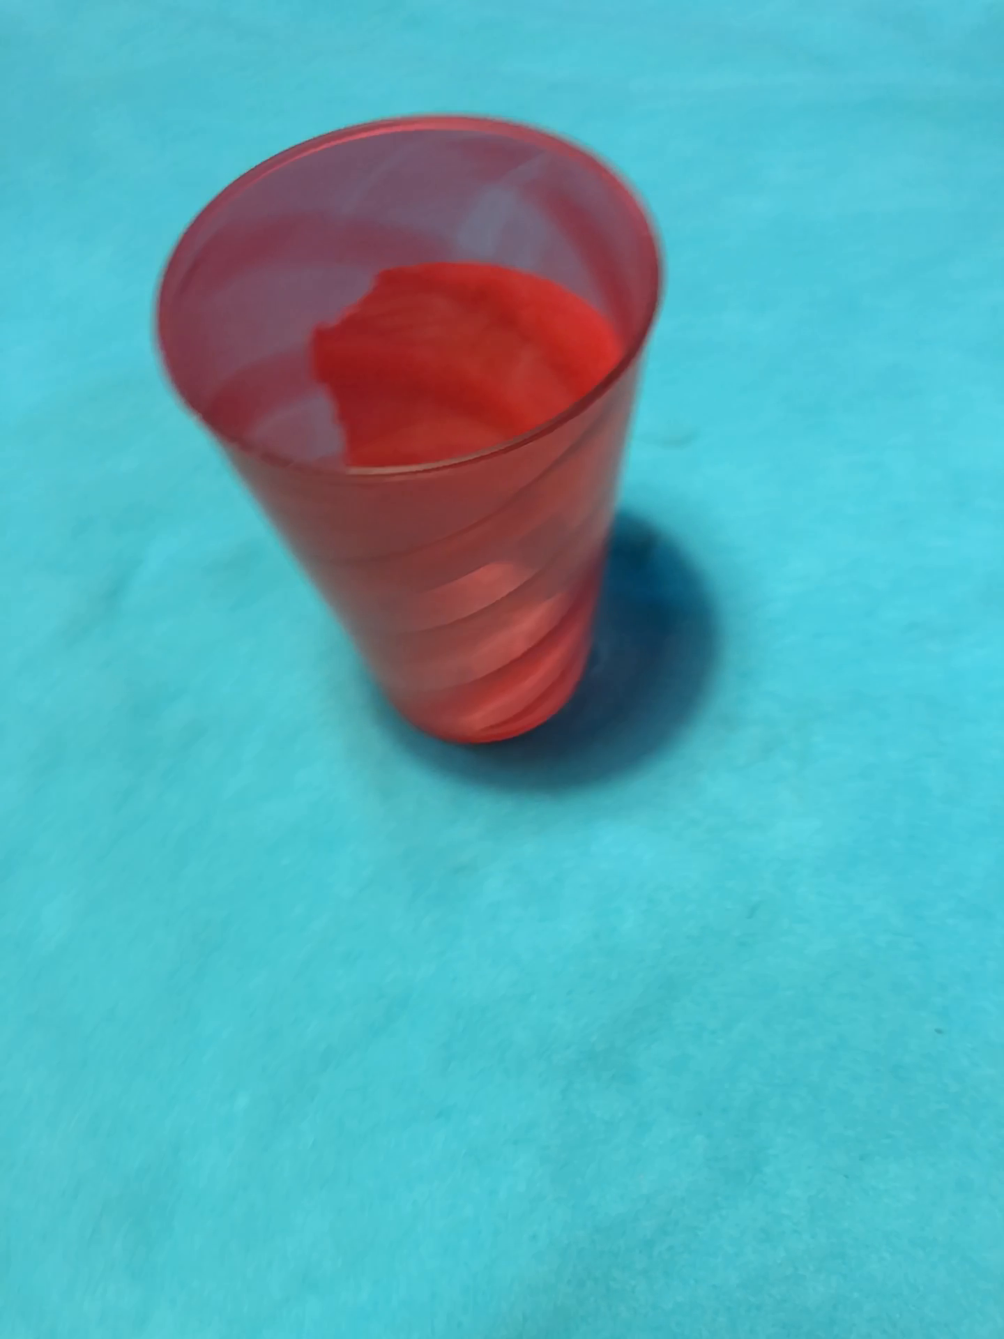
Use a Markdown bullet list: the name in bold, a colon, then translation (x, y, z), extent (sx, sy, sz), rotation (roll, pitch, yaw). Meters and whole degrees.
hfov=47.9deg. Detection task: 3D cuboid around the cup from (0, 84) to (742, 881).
- **cup**: translation (-0.012, -0.030, 0.218), extent (0.090, 0.109, 0.090), rotation (-2, 60, 4)
